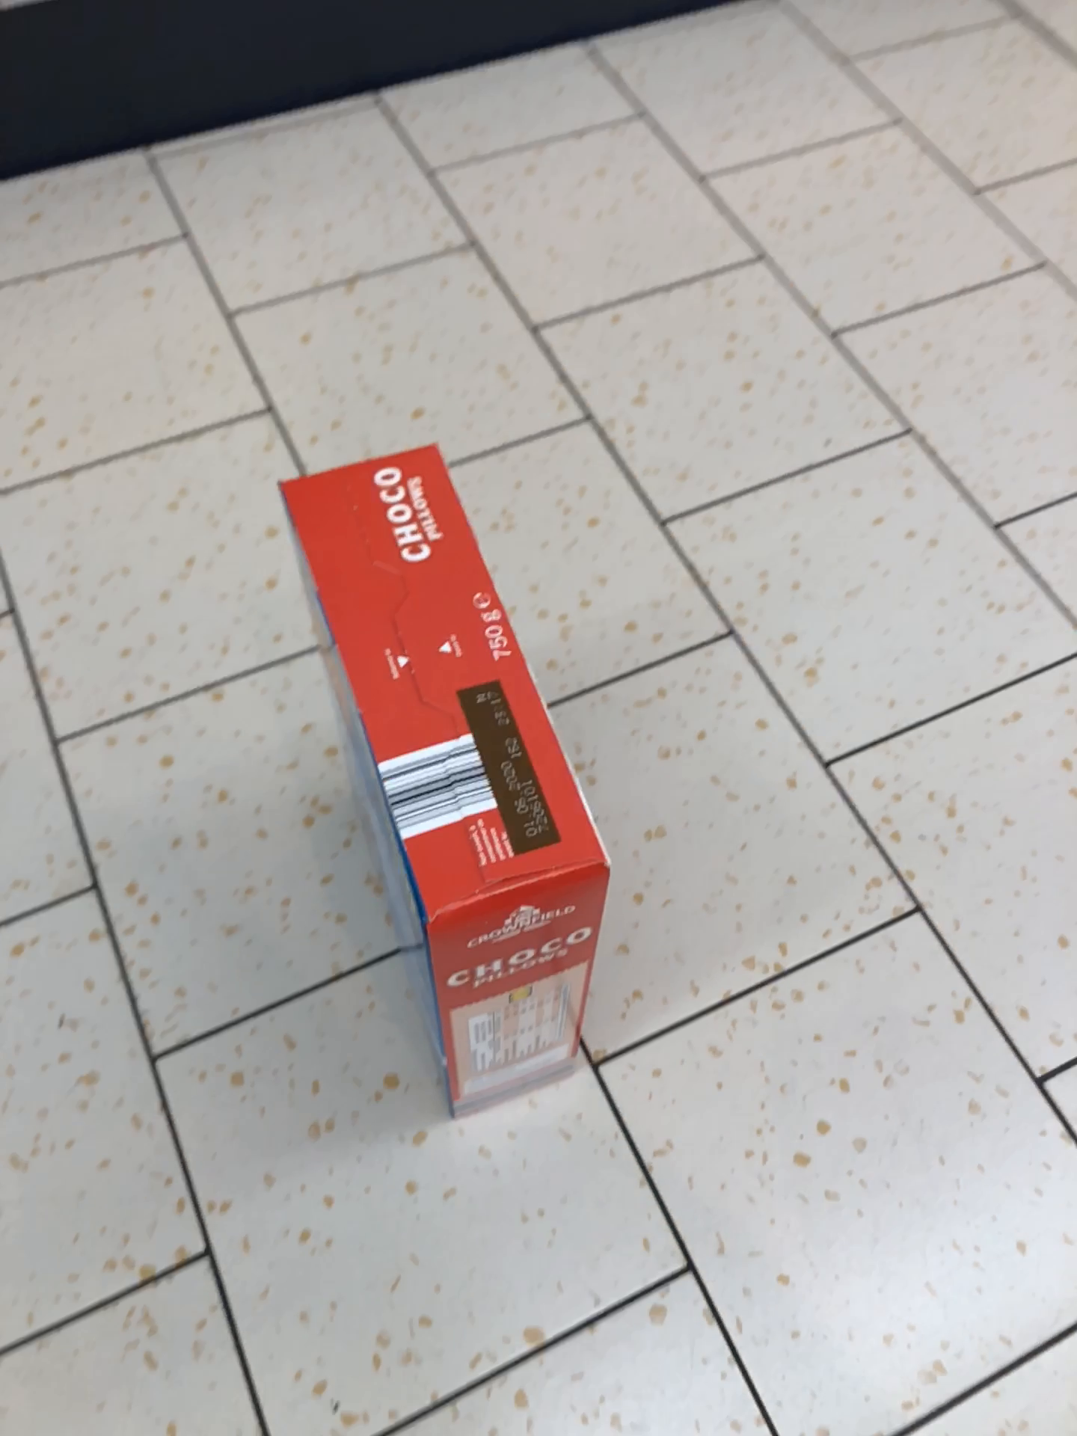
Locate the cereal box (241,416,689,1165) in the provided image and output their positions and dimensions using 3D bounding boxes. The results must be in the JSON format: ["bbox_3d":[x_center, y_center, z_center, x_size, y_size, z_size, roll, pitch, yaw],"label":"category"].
[{"bbox_3d":[-0.035,0.044,0.498,0.090,0.239,0.211,-16,60,-11],"label":"cereal box"}]
